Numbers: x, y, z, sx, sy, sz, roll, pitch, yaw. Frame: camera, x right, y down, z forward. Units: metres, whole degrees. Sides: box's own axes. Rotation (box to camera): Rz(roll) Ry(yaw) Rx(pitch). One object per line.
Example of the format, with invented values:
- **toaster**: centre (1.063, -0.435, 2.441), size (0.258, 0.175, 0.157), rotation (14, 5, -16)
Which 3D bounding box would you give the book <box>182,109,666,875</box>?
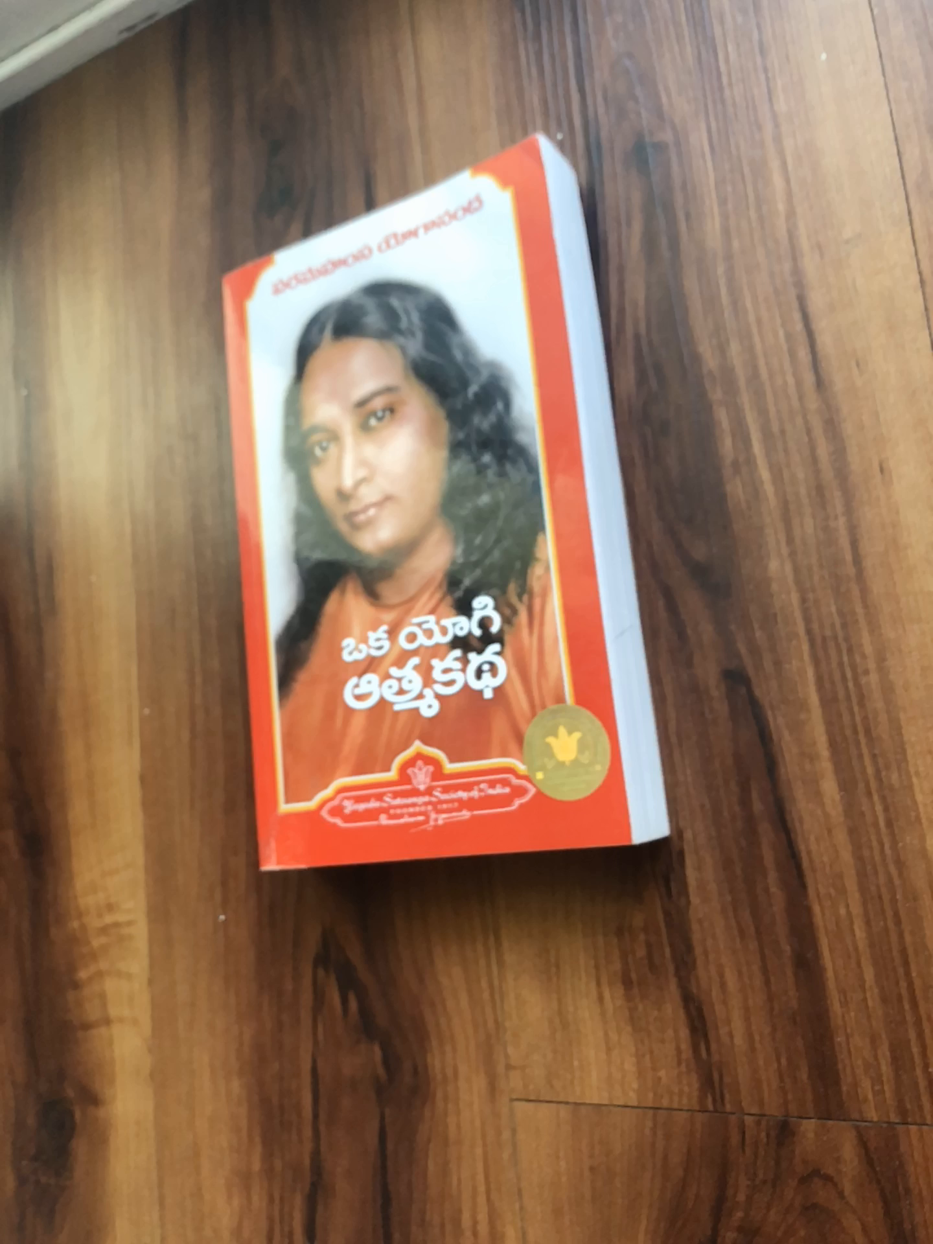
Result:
- **book**: centre (-0.023, -0.032, 0.339), size (0.148, 0.030, 0.214), rotation (-10, 79, 30)
